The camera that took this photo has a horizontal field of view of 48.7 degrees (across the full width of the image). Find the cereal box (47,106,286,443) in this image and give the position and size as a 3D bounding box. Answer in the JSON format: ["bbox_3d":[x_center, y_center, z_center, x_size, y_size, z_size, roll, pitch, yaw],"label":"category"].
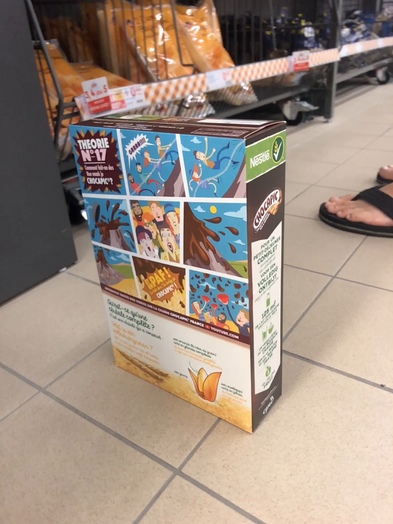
[{"bbox_3d":[-0.021,0.006,0.424,0.200,0.288,0.070,14,32,34],"label":"cereal box"}]

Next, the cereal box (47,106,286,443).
[{"bbox_3d":[-0.021,0.006,0.424,0.200,0.288,0.070,14,32,34],"label":"cereal box"}]
